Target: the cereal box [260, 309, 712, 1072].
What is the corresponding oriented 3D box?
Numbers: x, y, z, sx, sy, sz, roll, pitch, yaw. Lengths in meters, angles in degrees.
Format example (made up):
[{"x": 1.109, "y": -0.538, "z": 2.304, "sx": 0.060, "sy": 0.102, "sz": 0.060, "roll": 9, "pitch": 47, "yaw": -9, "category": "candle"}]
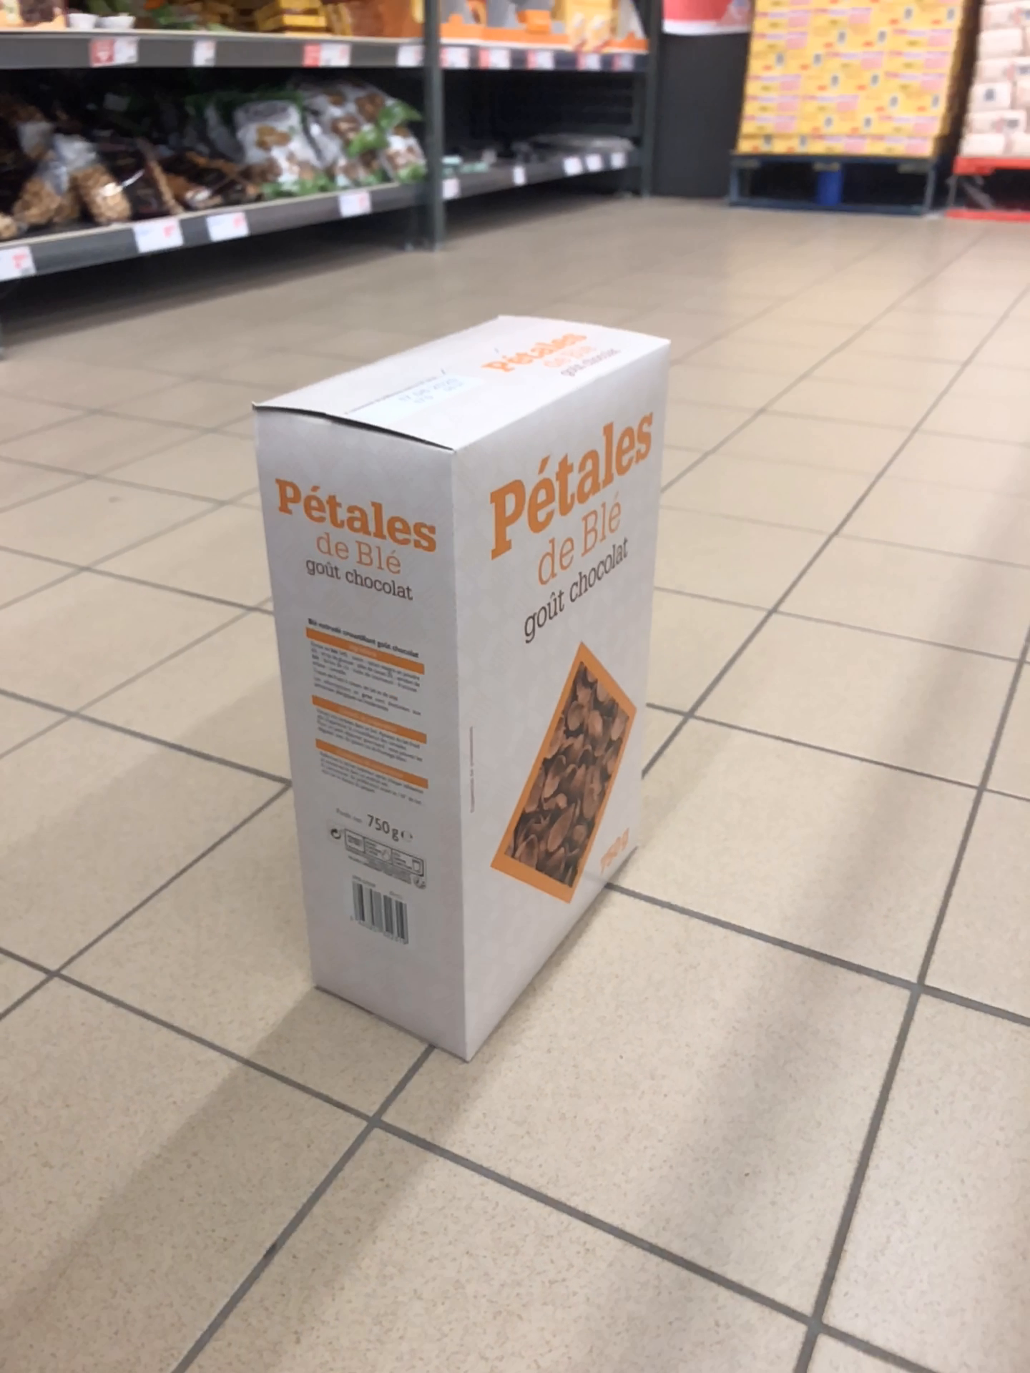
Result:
[{"x": -0.002, "y": -0.008, "z": 0.533, "sx": 0.100, "sy": 0.288, "sz": 0.191, "roll": 15, "pitch": 31, "yaw": 27, "category": "cereal box"}]
